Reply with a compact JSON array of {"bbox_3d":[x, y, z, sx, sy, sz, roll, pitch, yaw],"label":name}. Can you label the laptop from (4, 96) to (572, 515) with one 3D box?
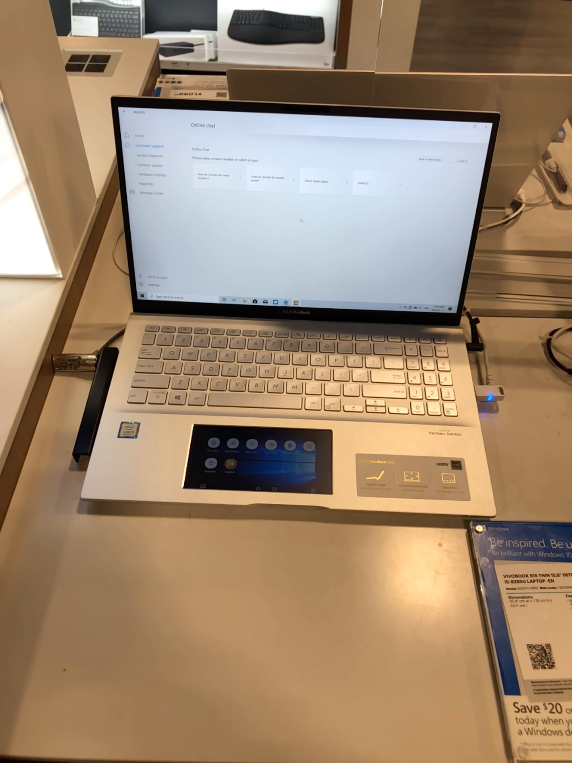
[{"bbox_3d":[0.008,-0.071,0.522,0.330,0.189,0.285,3,50,1],"label":"laptop"}]
